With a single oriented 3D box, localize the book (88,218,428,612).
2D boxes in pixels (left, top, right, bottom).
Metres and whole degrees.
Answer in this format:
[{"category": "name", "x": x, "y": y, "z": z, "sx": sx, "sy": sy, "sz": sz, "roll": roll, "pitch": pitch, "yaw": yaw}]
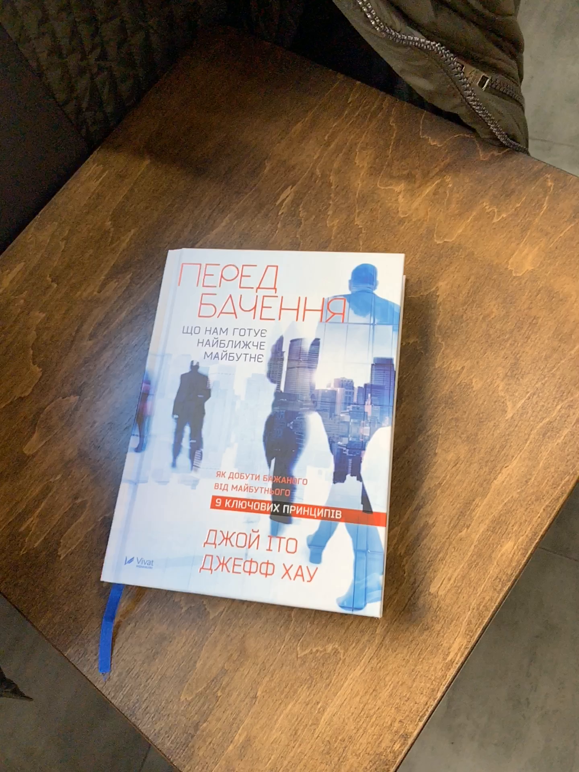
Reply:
[{"category": "book", "x": -0.008, "y": 0.007, "z": 0.321, "sx": 0.149, "sy": 0.040, "sz": 0.196, "roll": 4, "pitch": 71, "yaw": 11}]
